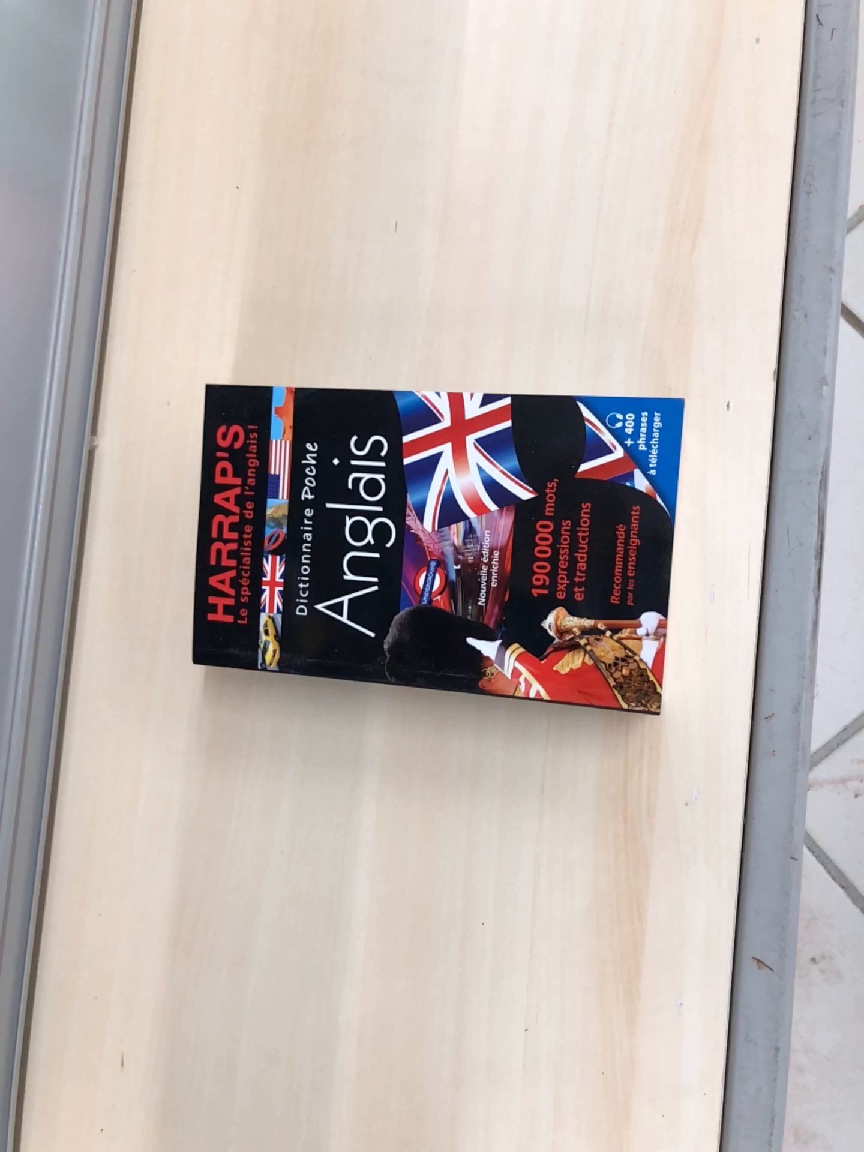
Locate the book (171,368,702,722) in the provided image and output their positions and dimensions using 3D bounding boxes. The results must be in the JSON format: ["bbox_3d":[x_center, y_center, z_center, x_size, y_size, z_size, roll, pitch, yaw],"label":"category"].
[{"bbox_3d":[0.004,-0.013,0.361,0.181,0.057,0.115,4,84,14],"label":"book"}]
